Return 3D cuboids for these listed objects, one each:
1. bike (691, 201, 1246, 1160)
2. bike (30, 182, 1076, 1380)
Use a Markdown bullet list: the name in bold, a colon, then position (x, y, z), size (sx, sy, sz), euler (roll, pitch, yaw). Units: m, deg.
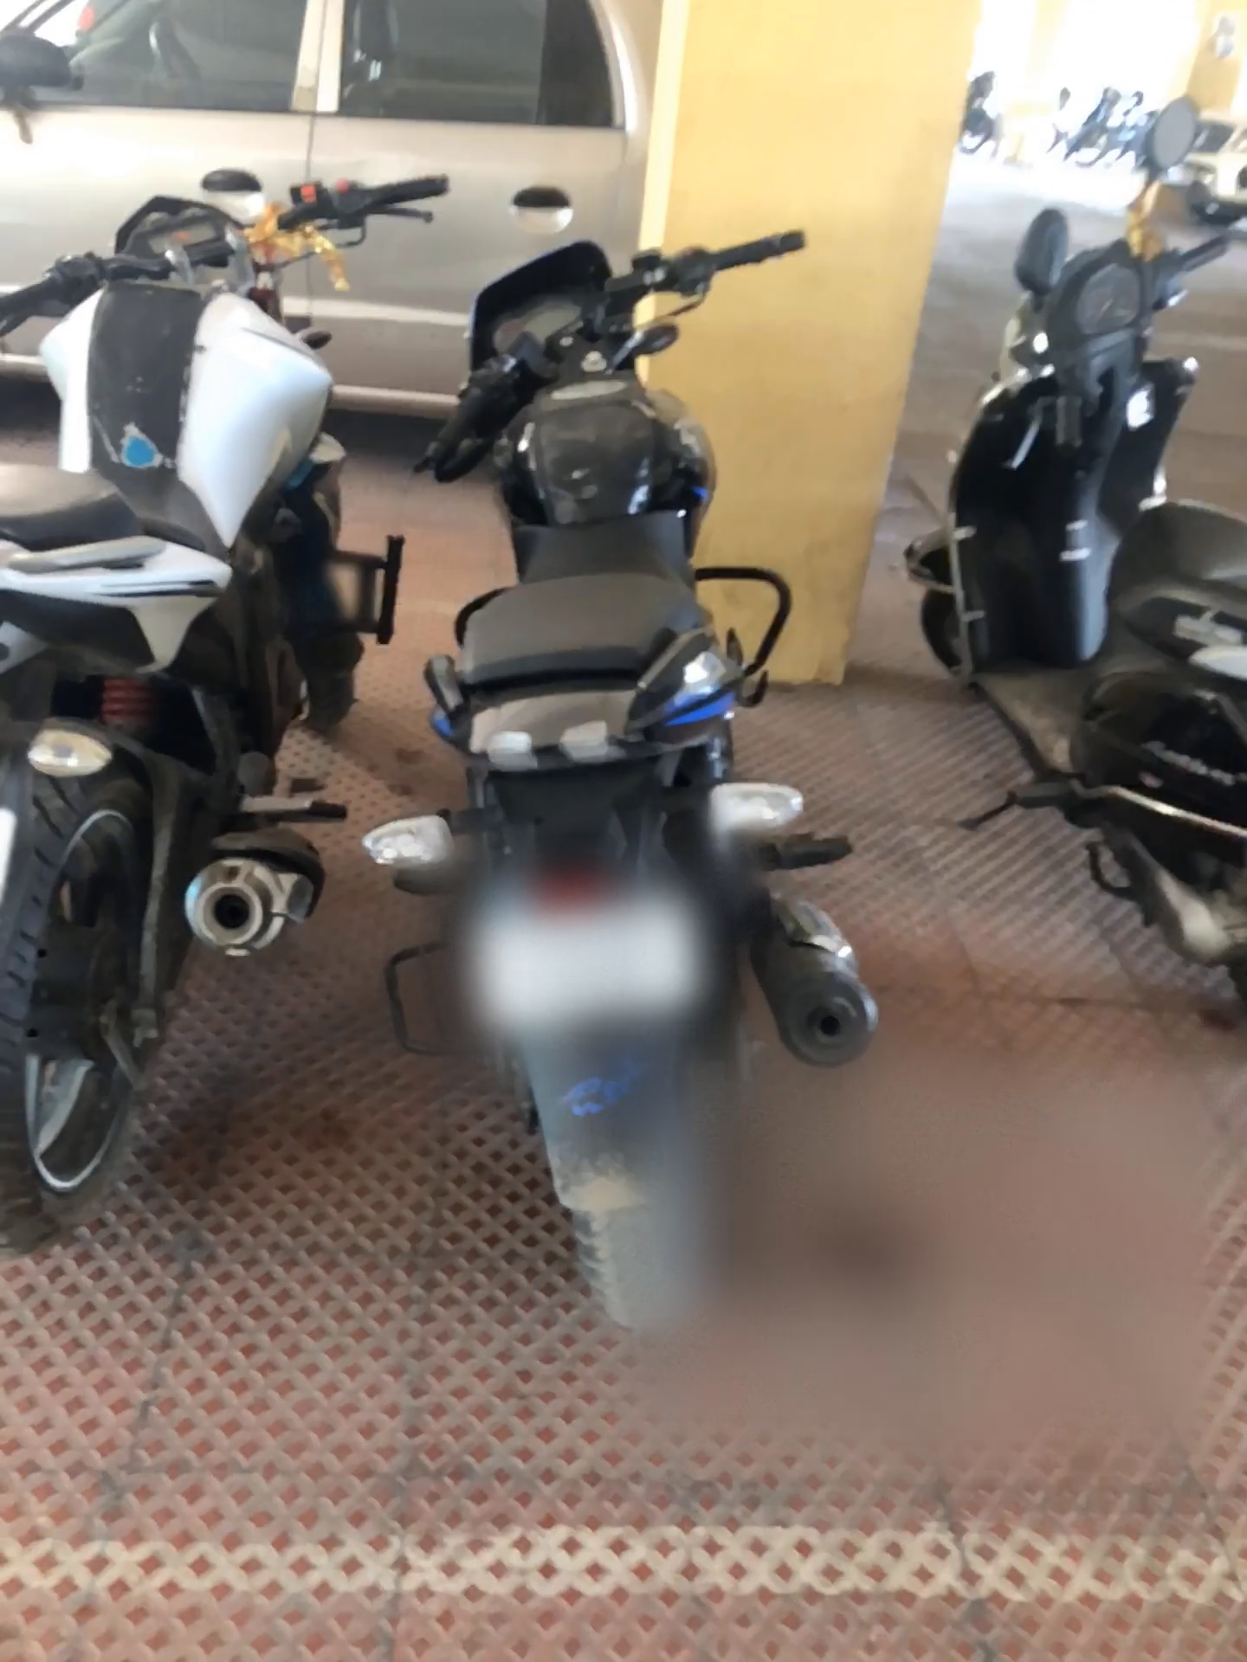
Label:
- **bike**: position (0.797, -0.440, 2.642), size (0.713, 1.221, 1.723), euler (-2, 31, -15)
- **bike**: position (-0.197, -0.309, 2.011), size (0.745, 0.988, 1.854), euler (2, 30, -8)
